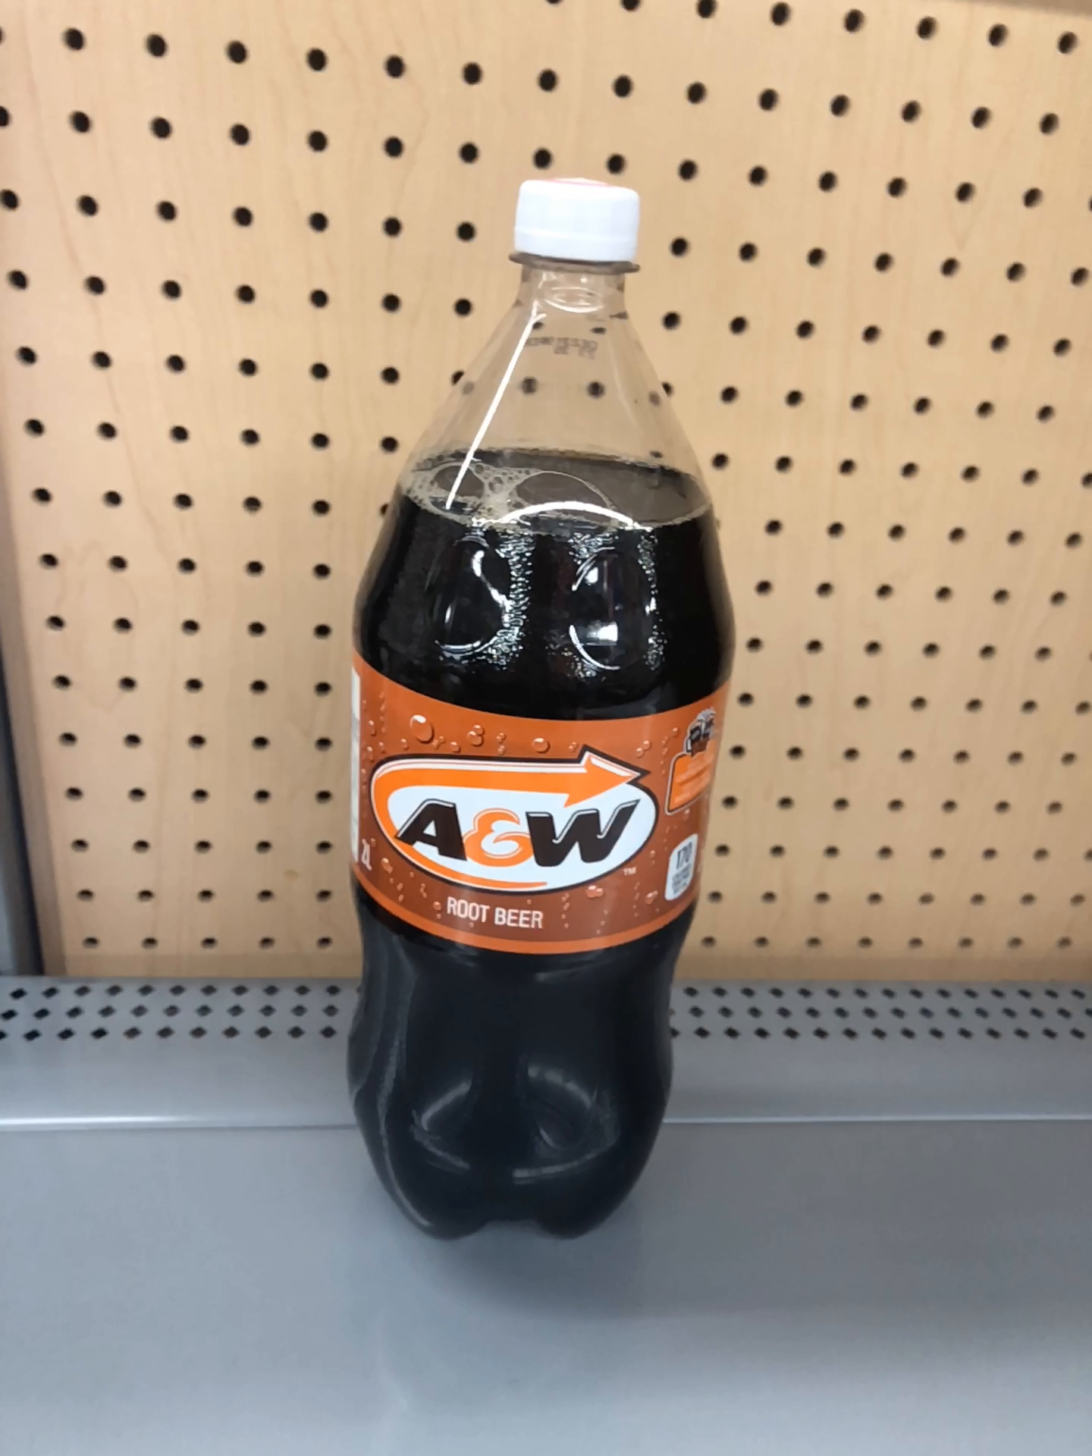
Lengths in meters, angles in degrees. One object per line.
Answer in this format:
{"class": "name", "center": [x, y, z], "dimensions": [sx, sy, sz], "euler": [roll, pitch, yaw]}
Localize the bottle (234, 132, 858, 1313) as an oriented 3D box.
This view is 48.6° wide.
{"class": "bottle", "center": [-0.005, 0.003, 0.351], "dimensions": [0.120, 0.308, 0.121], "euler": [3, 26, -2]}
